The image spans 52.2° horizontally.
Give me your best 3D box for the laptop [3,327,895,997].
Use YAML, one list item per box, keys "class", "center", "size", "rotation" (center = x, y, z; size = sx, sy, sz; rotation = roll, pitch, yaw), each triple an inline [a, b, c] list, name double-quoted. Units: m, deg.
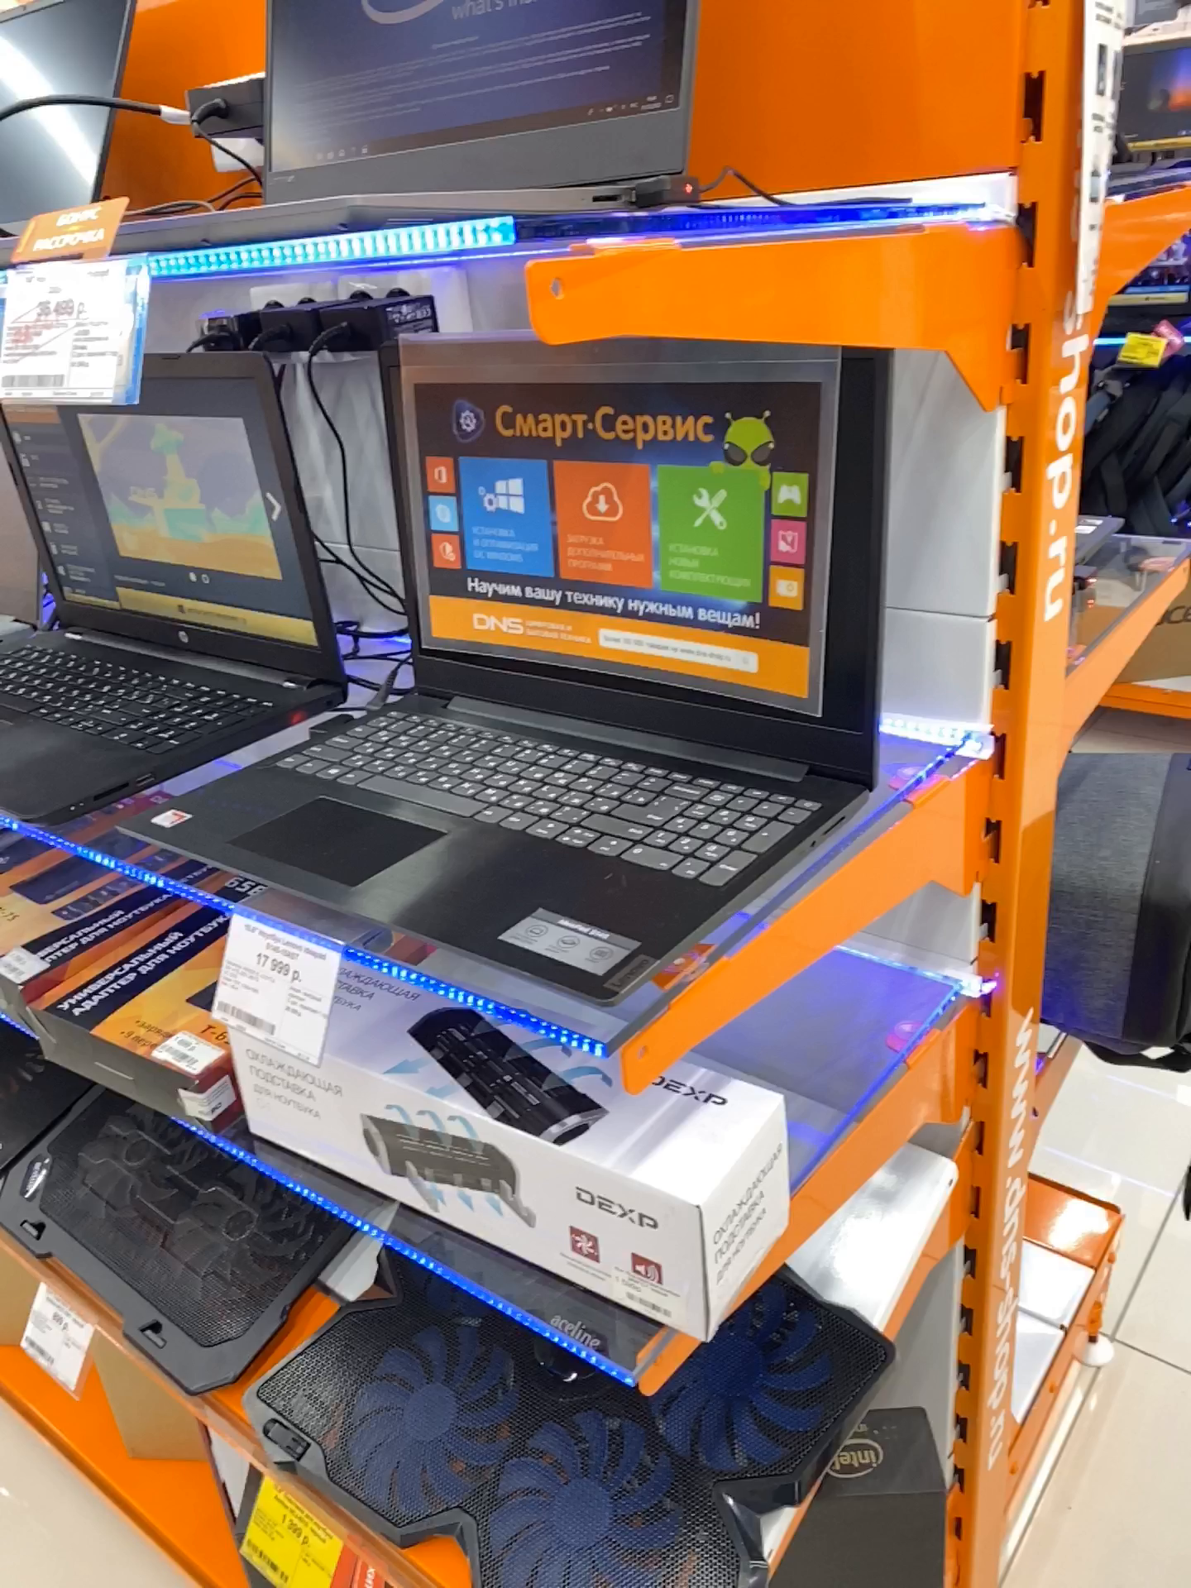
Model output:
- class: "laptop"
  center: [-0.066, -0.104, 0.650]
  size: [0.358, 0.236, 0.266]
  rotation: [12, 29, 35]
